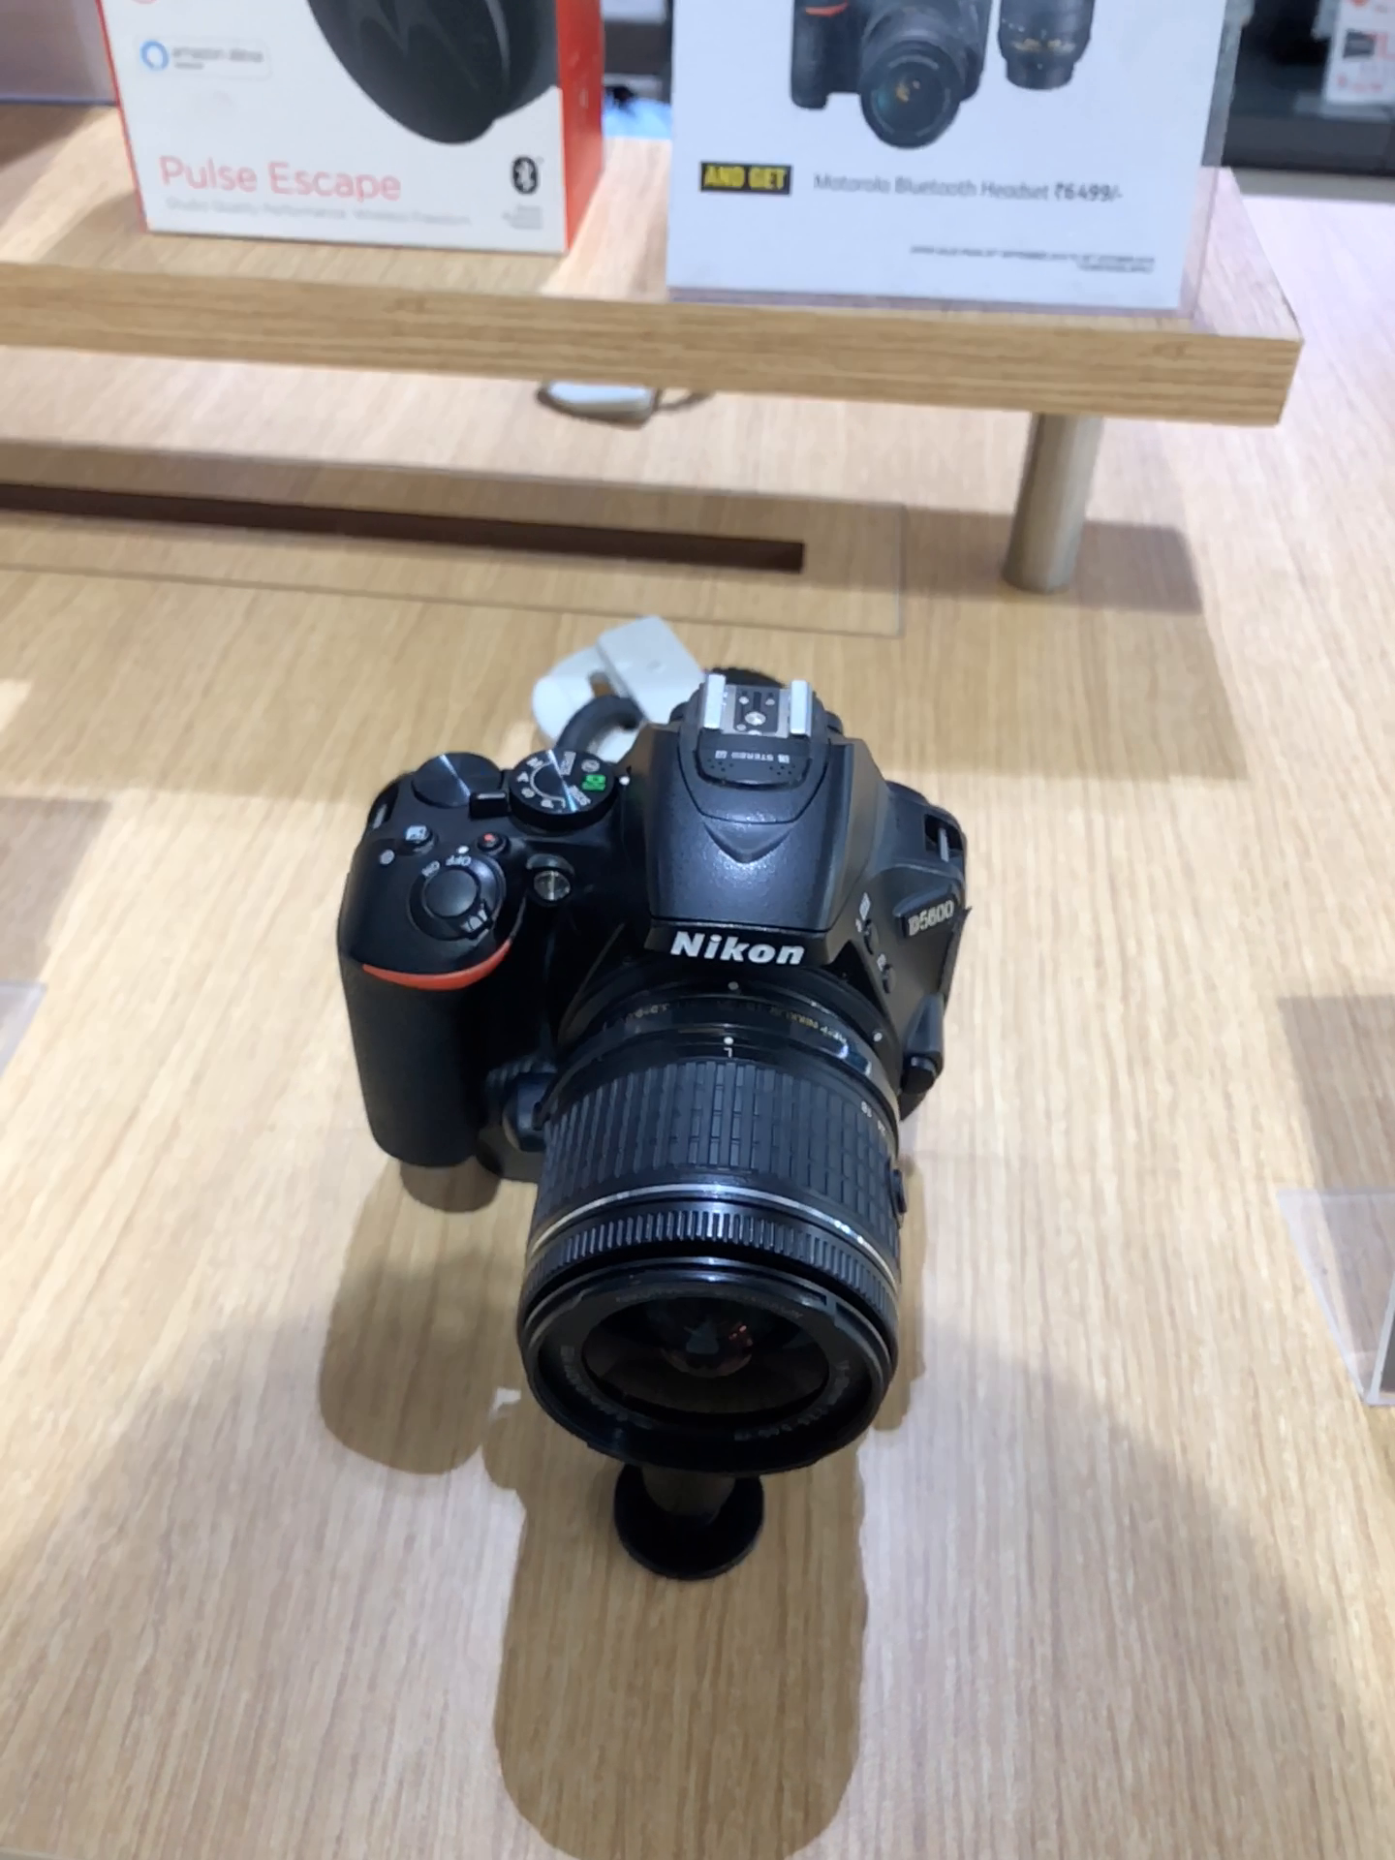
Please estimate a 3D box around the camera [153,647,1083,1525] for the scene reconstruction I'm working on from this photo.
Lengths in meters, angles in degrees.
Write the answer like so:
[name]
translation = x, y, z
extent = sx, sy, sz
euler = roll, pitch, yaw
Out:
[camera]
translation = -0.007, 0.020, 0.272
extent = 0.120, 0.070, 0.131
euler = 4, 43, 2
